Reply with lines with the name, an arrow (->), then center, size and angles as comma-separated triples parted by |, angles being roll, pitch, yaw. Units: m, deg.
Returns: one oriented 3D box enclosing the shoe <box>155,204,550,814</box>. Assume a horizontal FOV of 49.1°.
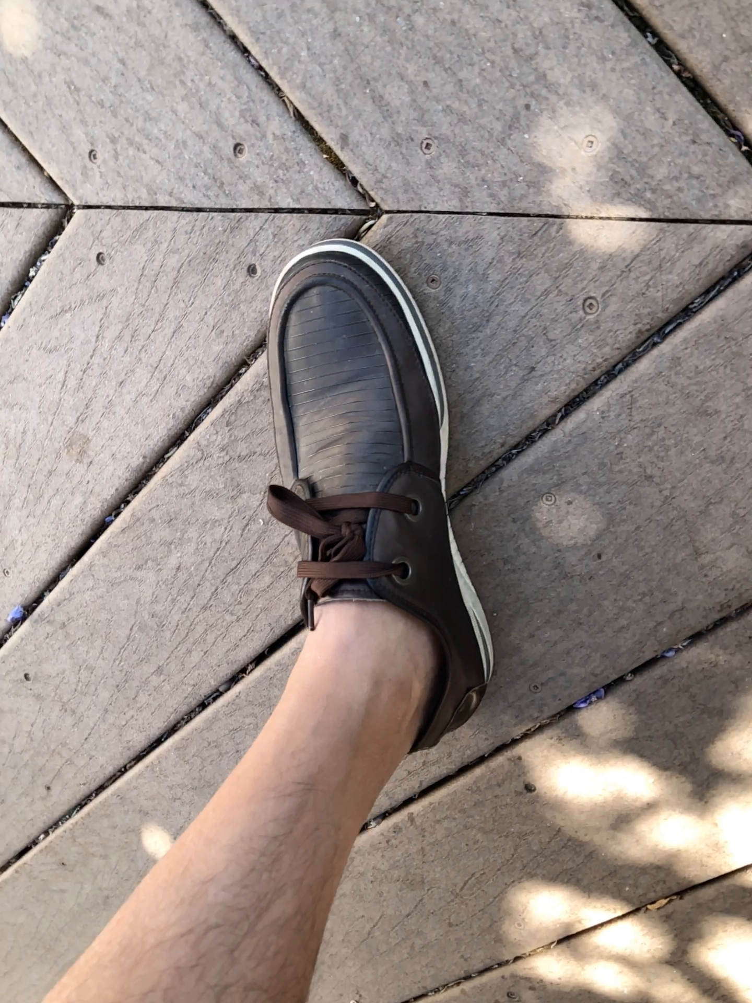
shoe -> 0.004, 0.007, 0.445 | 0.110, 0.110, 0.296 | -10, 106, 19
